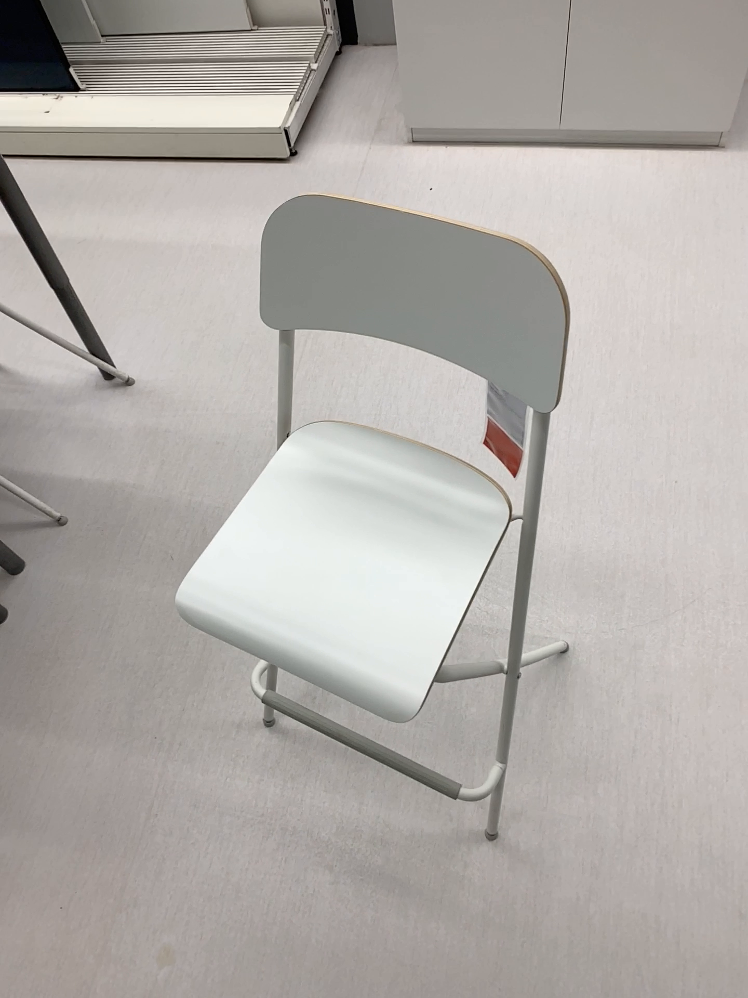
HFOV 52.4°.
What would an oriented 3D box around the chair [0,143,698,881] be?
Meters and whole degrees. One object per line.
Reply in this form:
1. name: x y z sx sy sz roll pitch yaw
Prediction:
1. chair: 0.012 0.119 1.076 0.521 0.938 0.500 20 64 19
